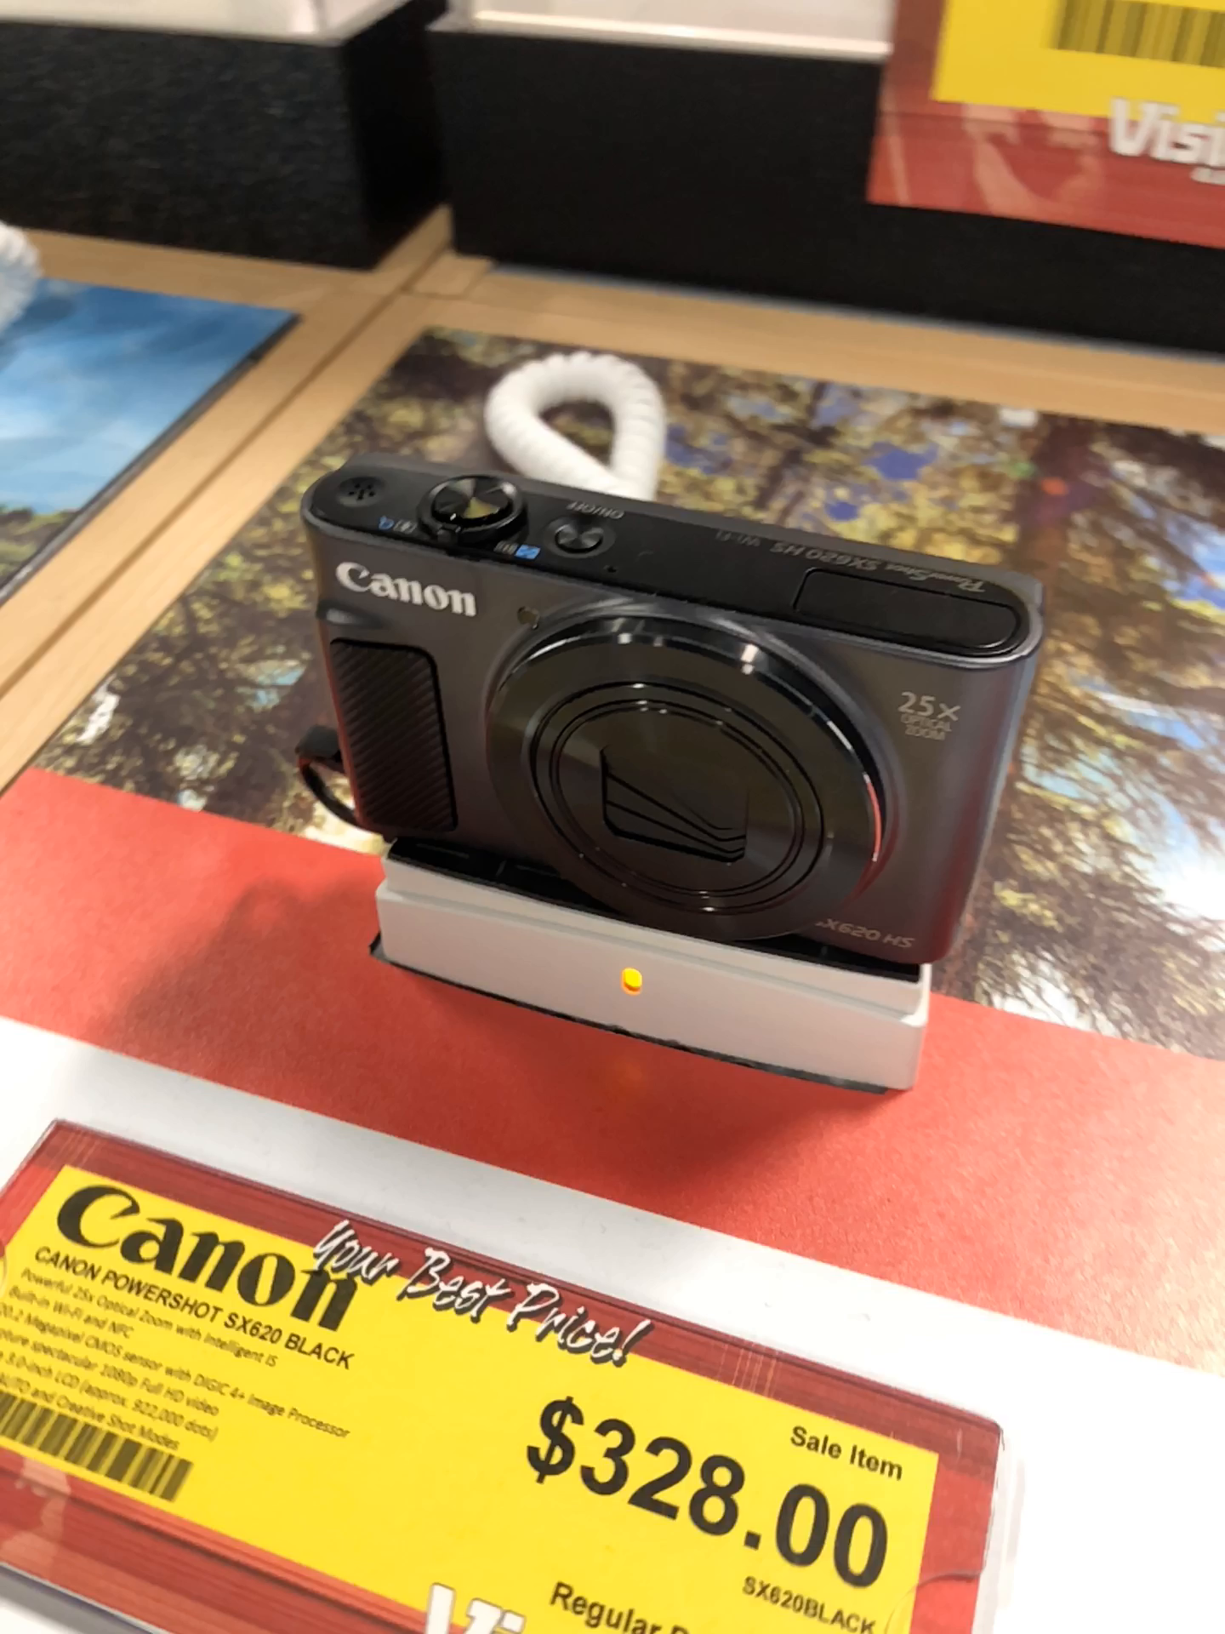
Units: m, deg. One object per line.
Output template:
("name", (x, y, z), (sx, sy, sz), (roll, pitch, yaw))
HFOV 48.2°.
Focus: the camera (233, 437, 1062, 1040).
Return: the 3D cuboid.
("camera", (0.004, -0.012, 0.193), (0.100, 0.060, 0.030), (14, 47, 15))
